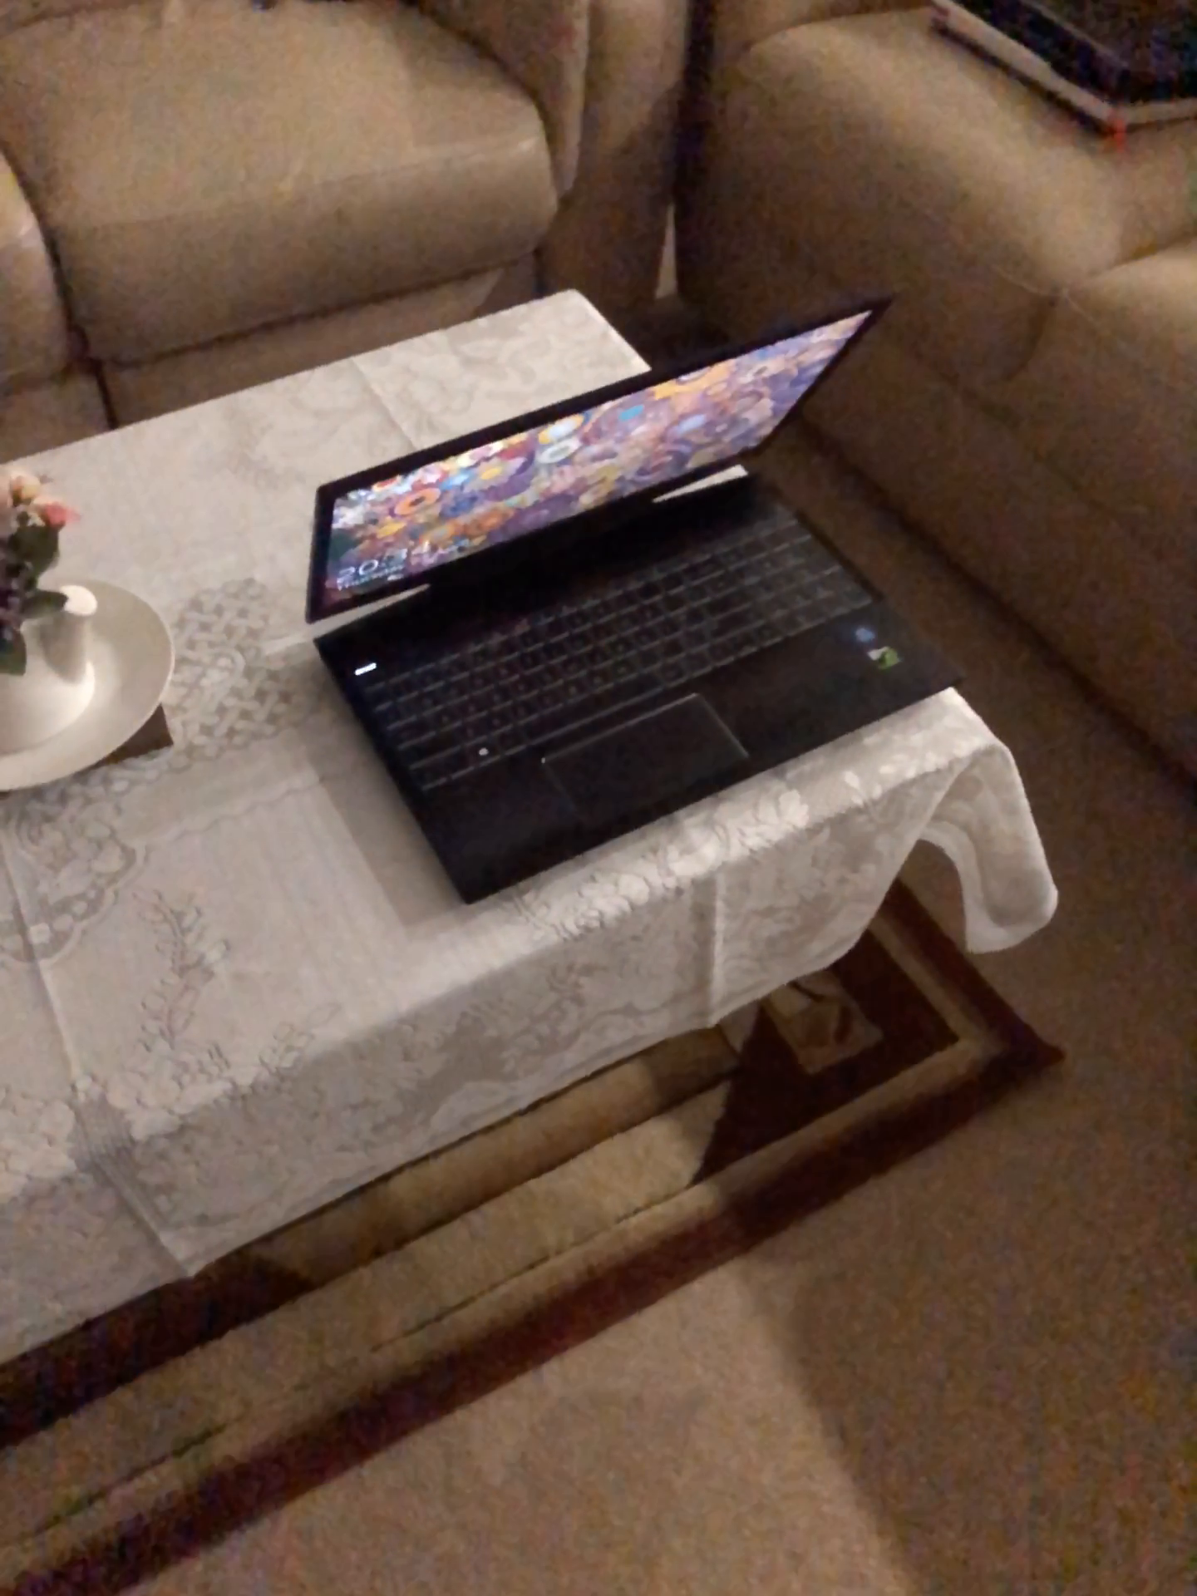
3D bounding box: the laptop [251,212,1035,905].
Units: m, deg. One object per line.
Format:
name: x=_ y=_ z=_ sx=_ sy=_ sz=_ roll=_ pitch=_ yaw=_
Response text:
laptop: x=0.021 y=-0.155 z=0.790 sx=0.355 sy=0.199 sz=0.243 roll=-24 pitch=56 yaw=-17
